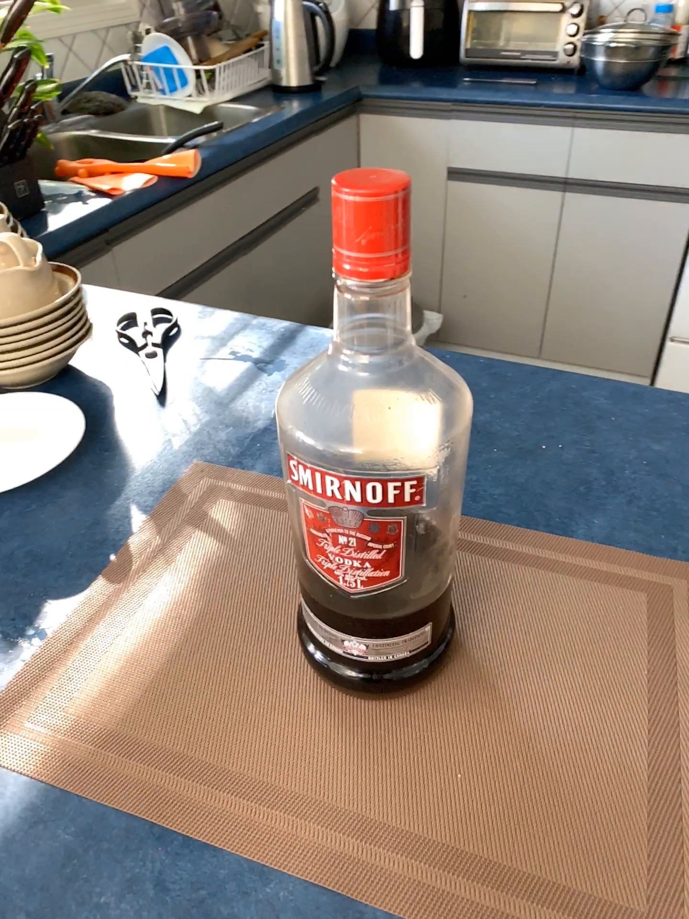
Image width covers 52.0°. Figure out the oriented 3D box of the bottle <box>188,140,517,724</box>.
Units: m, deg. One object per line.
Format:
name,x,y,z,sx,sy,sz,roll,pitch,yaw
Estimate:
bottle,0.015,-0.001,0.413,0.120,0.317,0.111,-2,36,1
